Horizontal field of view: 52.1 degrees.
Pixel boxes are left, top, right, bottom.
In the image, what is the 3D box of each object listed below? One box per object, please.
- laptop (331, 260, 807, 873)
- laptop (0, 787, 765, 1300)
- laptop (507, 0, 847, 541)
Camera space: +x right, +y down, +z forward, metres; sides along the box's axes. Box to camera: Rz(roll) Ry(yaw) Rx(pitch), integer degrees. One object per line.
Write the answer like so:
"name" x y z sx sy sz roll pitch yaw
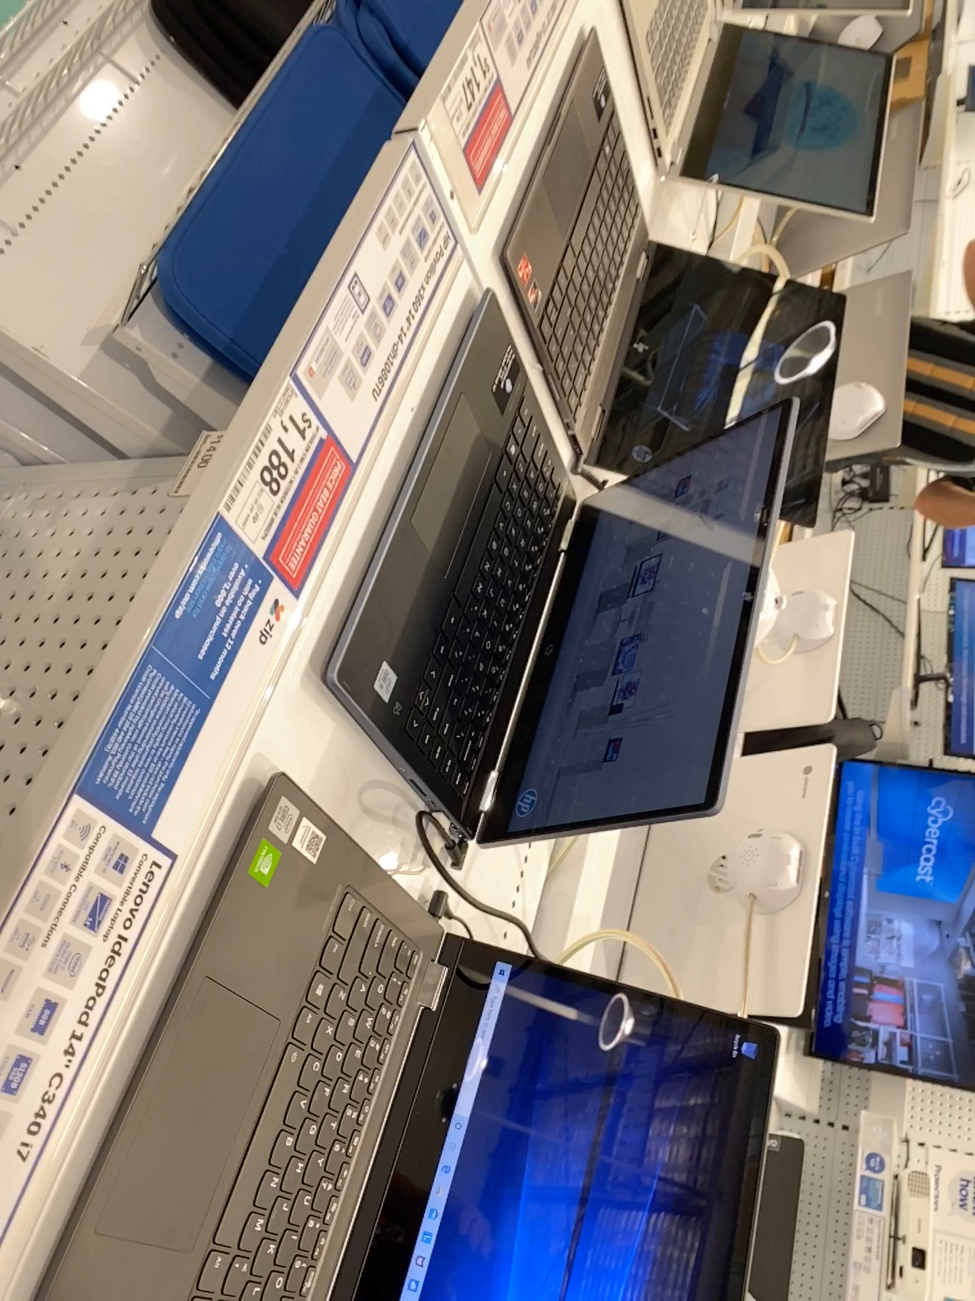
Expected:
"laptop" 0.081 -0.053 0.654 0.212 0.189 0.313 58 42 -49
"laptop" -0.007 0.280 0.486 0.295 0.199 0.306 60 40 -47
"laptop" 0.195 -0.323 0.878 0.326 0.173 0.326 56 42 -48
